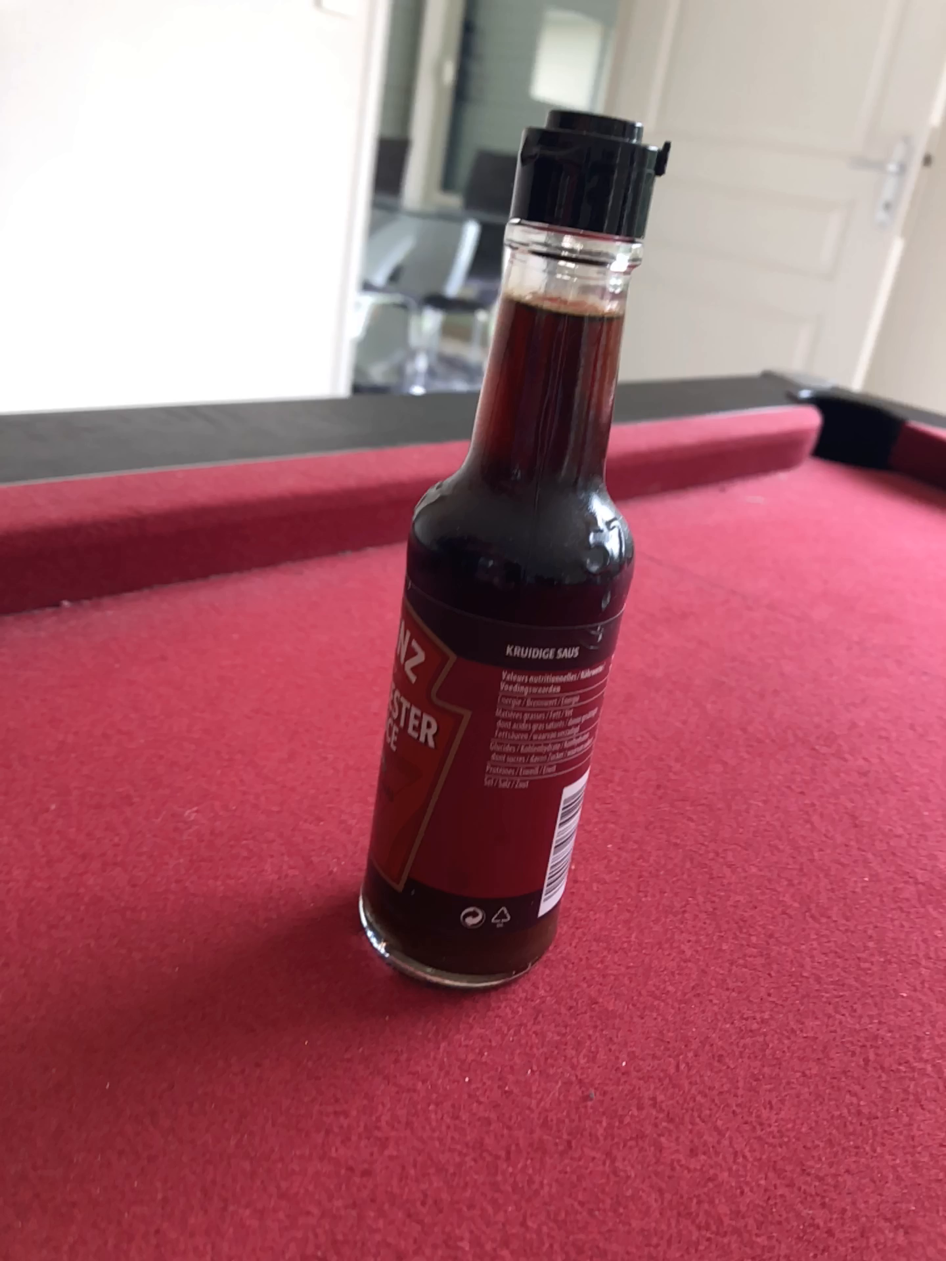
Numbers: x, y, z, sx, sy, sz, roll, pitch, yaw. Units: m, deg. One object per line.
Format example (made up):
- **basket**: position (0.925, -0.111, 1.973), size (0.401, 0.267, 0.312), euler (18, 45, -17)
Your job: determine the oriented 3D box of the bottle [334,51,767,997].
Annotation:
- **bottle**: position (0.006, -0.013, 0.220), size (0.050, 0.179, 0.050), euler (8, 22, -3)
